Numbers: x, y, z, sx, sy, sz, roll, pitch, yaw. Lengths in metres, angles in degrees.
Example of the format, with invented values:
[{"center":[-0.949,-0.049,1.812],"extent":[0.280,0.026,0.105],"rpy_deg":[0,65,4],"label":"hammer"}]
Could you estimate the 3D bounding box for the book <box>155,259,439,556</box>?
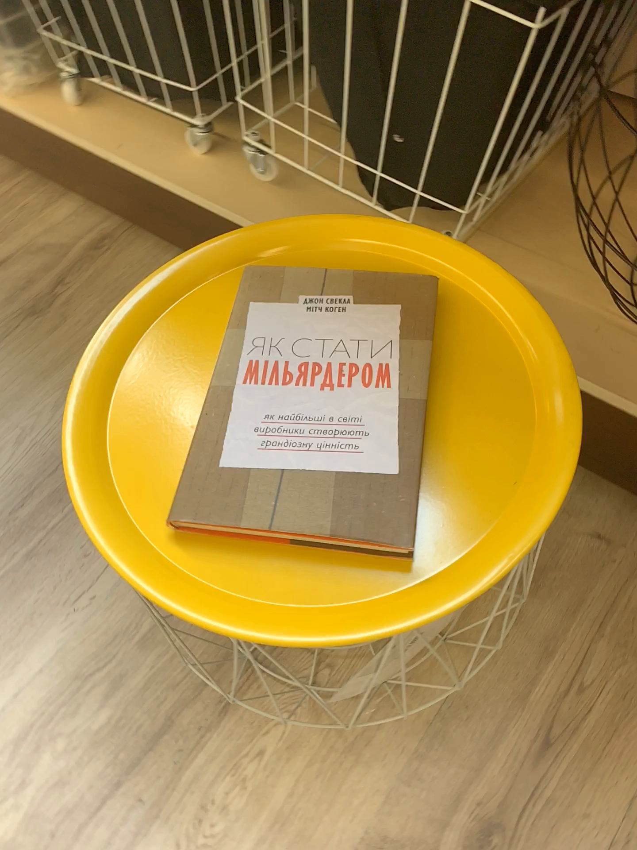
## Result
[{"center":[-0.004,-0.028,0.478],"extent":[0.170,0.020,0.236],"rpy_deg":[4,58,8],"label":"book"}]
